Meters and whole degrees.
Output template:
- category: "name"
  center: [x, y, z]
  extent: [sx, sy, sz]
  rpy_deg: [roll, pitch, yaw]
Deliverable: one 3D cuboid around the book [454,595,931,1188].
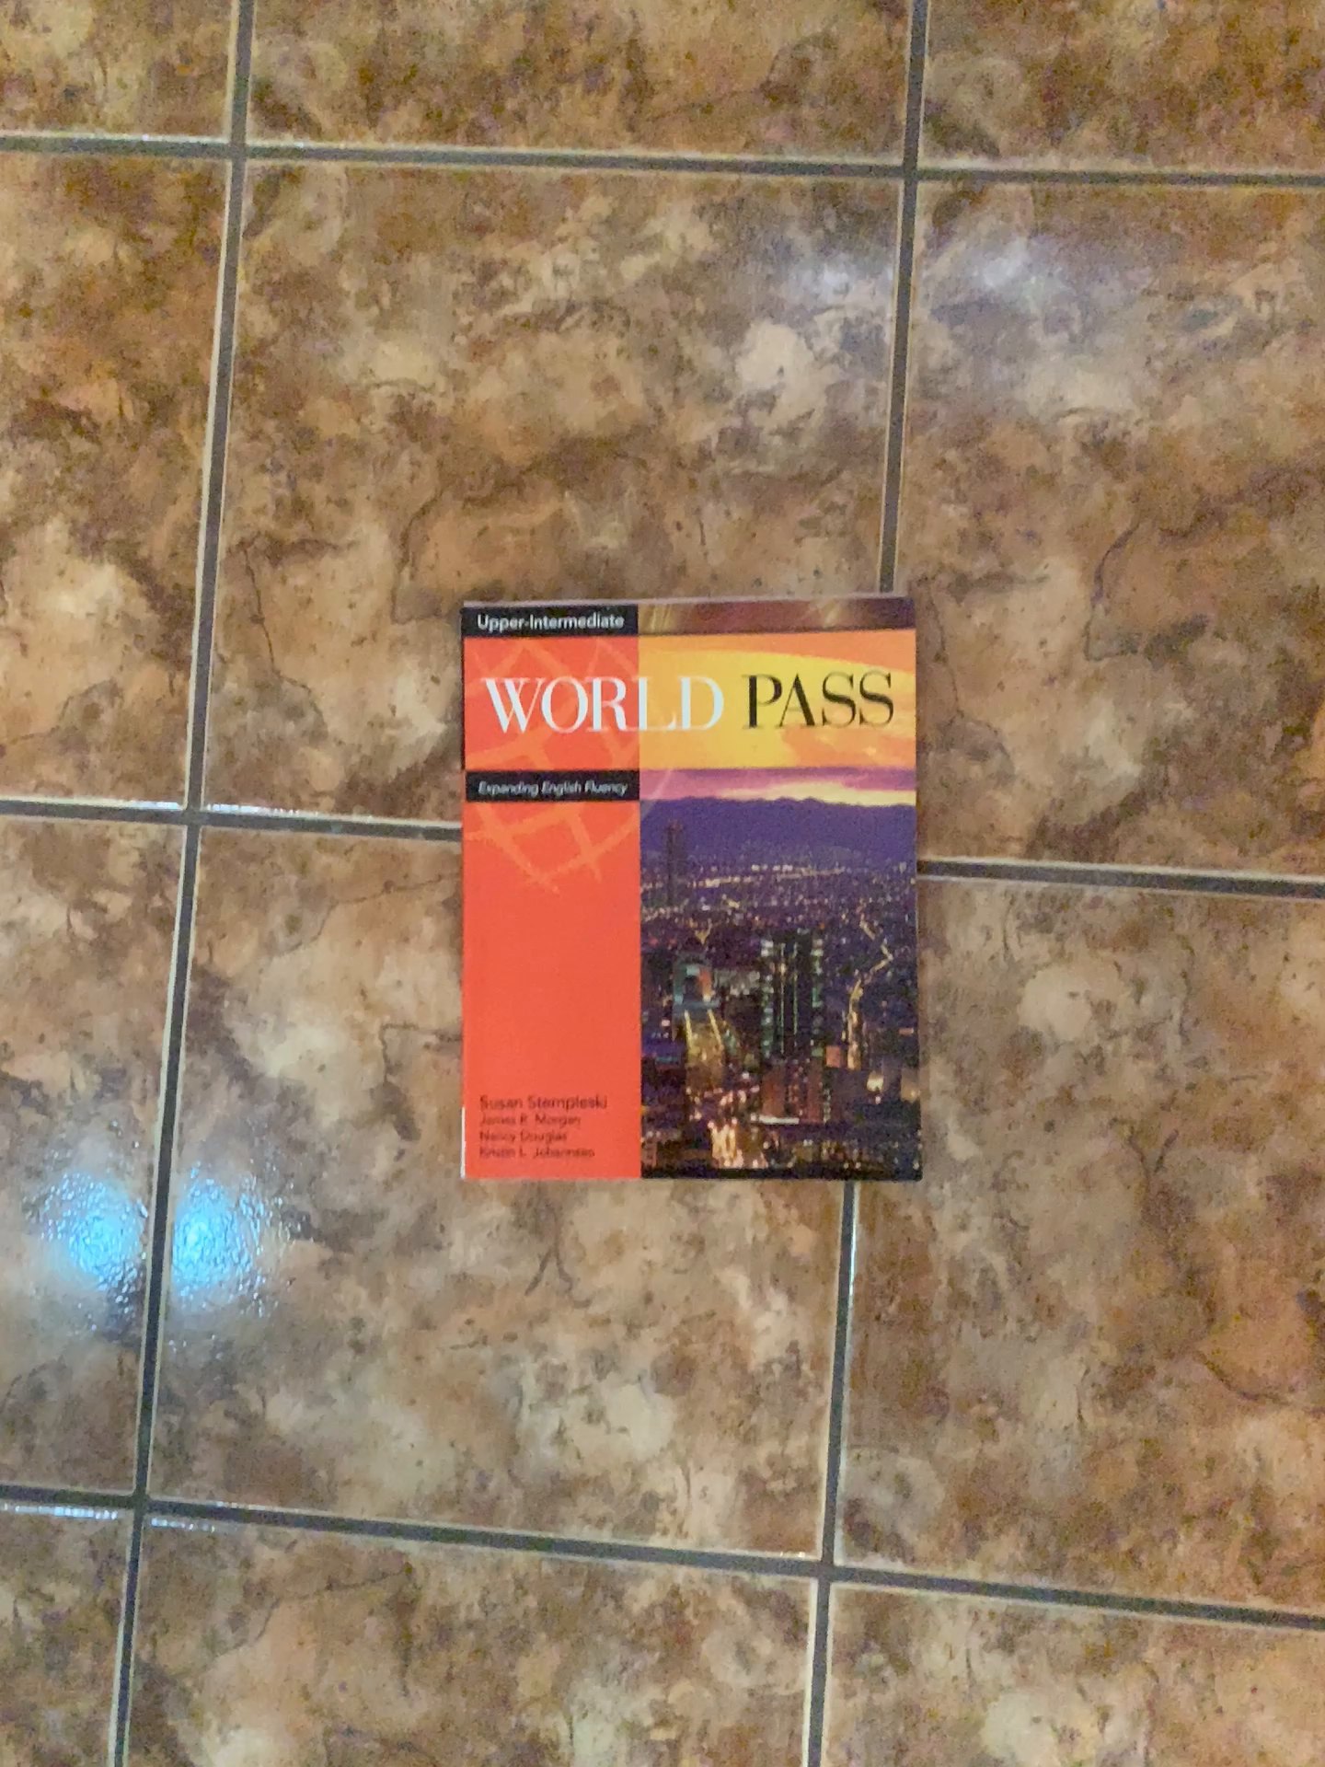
- category: "book"
  center: [0.012, 0.004, 0.632]
  extent: [0.219, 0.016, 0.271]
  rpy_deg: [-1, 87, 4]
